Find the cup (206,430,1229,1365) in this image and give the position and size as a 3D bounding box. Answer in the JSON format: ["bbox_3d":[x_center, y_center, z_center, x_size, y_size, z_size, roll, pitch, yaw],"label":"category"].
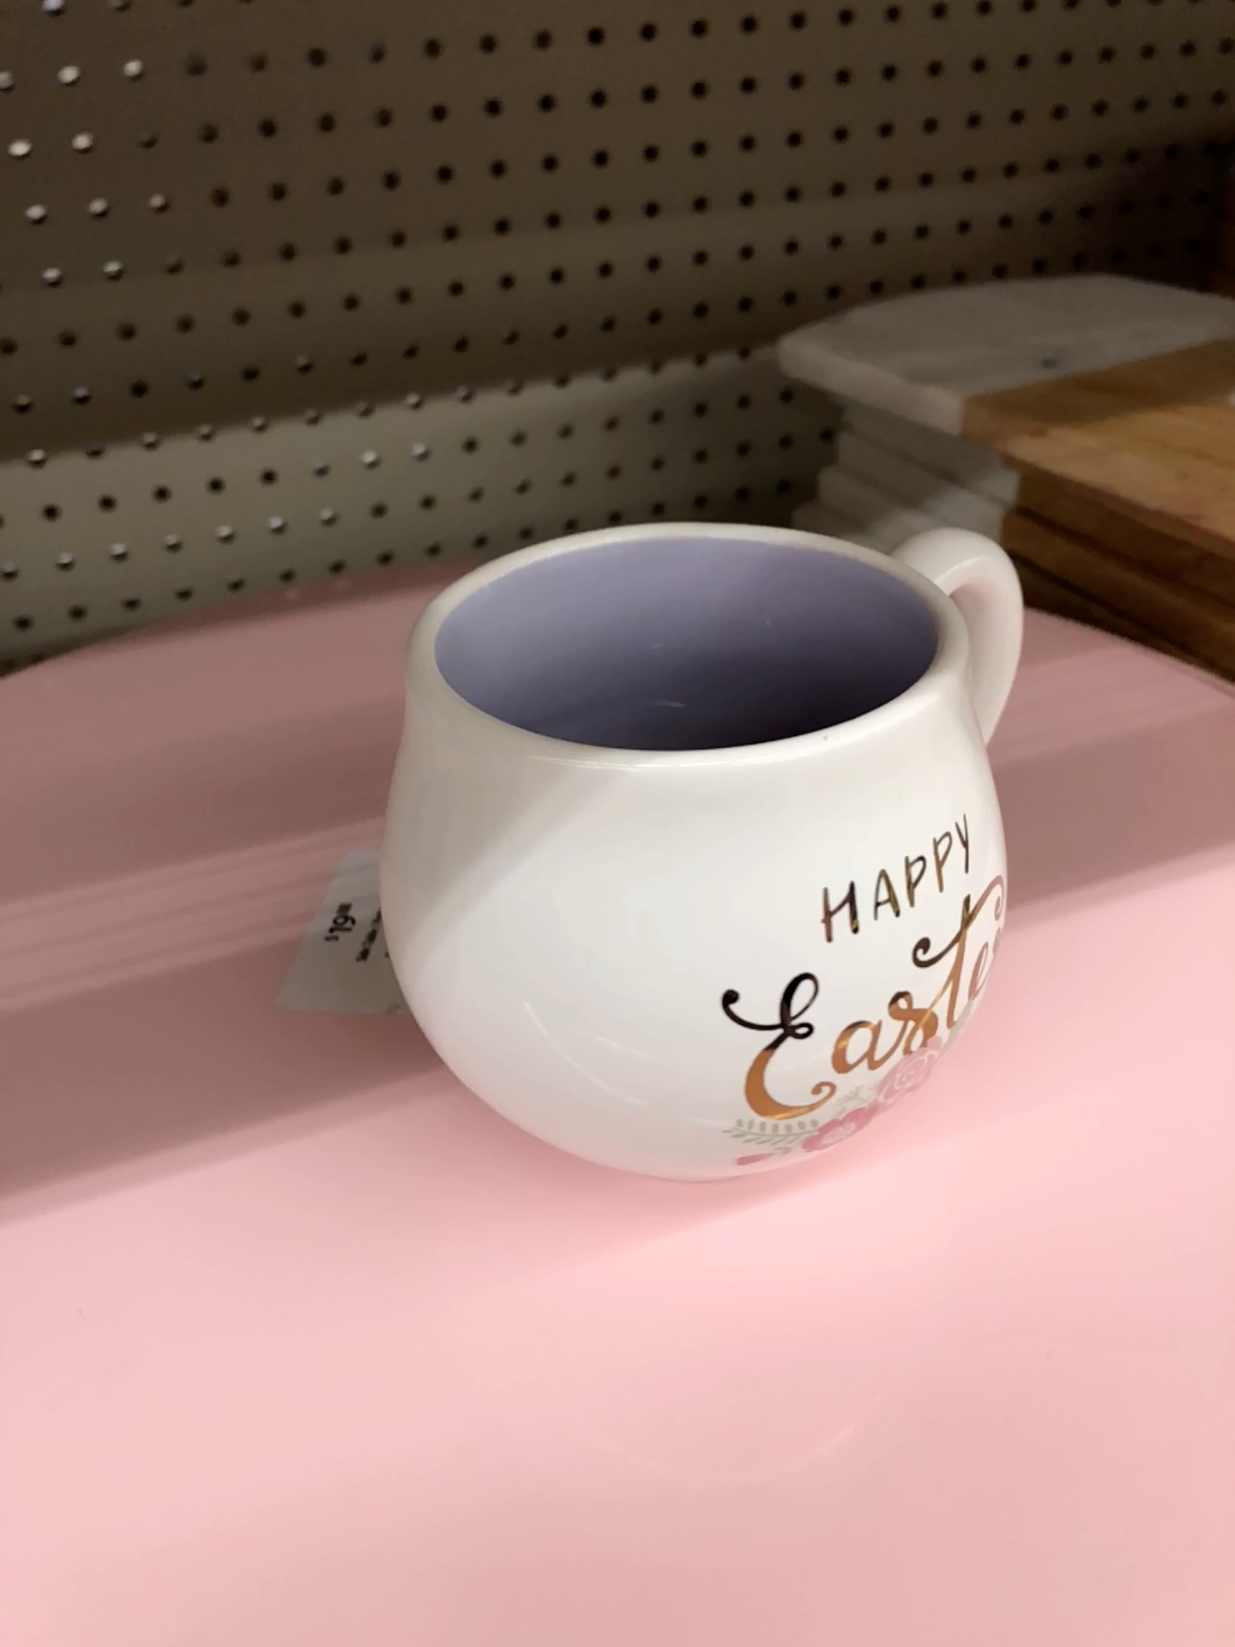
[{"bbox_3d":[0.019,-0.002,0.233,0.130,0.080,0.090,-28,40,-33],"label":"cup"}]
